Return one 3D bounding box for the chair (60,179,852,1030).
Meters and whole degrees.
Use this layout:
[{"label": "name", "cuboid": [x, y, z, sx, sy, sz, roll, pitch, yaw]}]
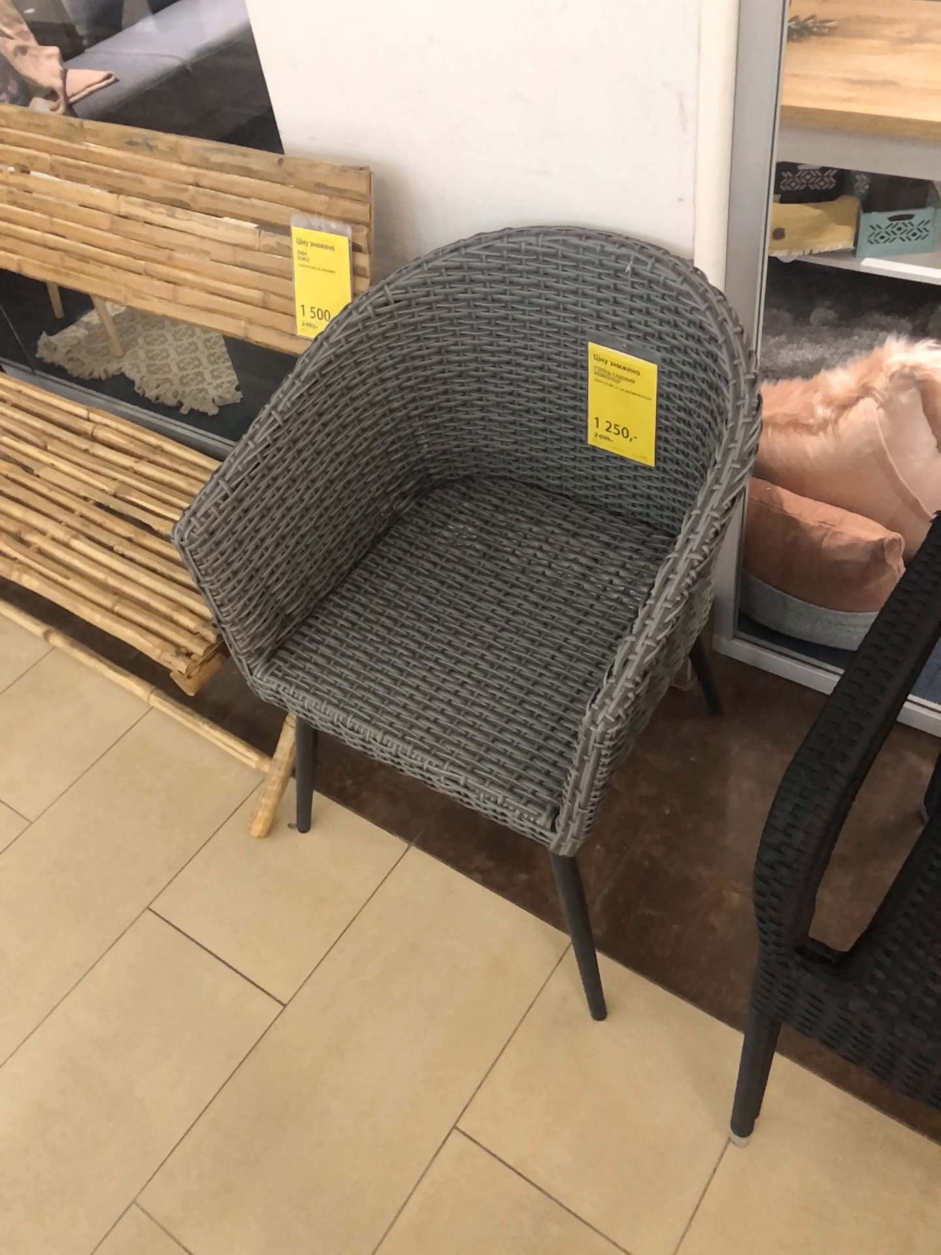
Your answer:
[{"label": "chair", "cuboid": [0.033, -0.027, 1.254, 0.571, 0.737, 0.521, 23, 56, 28]}]
